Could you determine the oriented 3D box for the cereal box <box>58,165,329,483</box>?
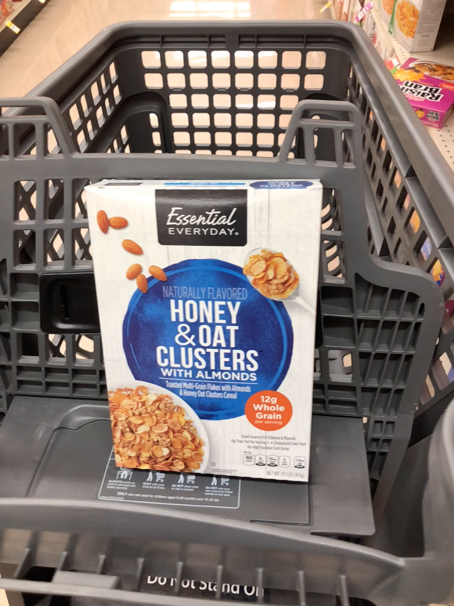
[{"bbox_3d":[-0.024,0.022,0.458,0.210,0.280,0.060,2,20,7],"label":"cereal box"}]
